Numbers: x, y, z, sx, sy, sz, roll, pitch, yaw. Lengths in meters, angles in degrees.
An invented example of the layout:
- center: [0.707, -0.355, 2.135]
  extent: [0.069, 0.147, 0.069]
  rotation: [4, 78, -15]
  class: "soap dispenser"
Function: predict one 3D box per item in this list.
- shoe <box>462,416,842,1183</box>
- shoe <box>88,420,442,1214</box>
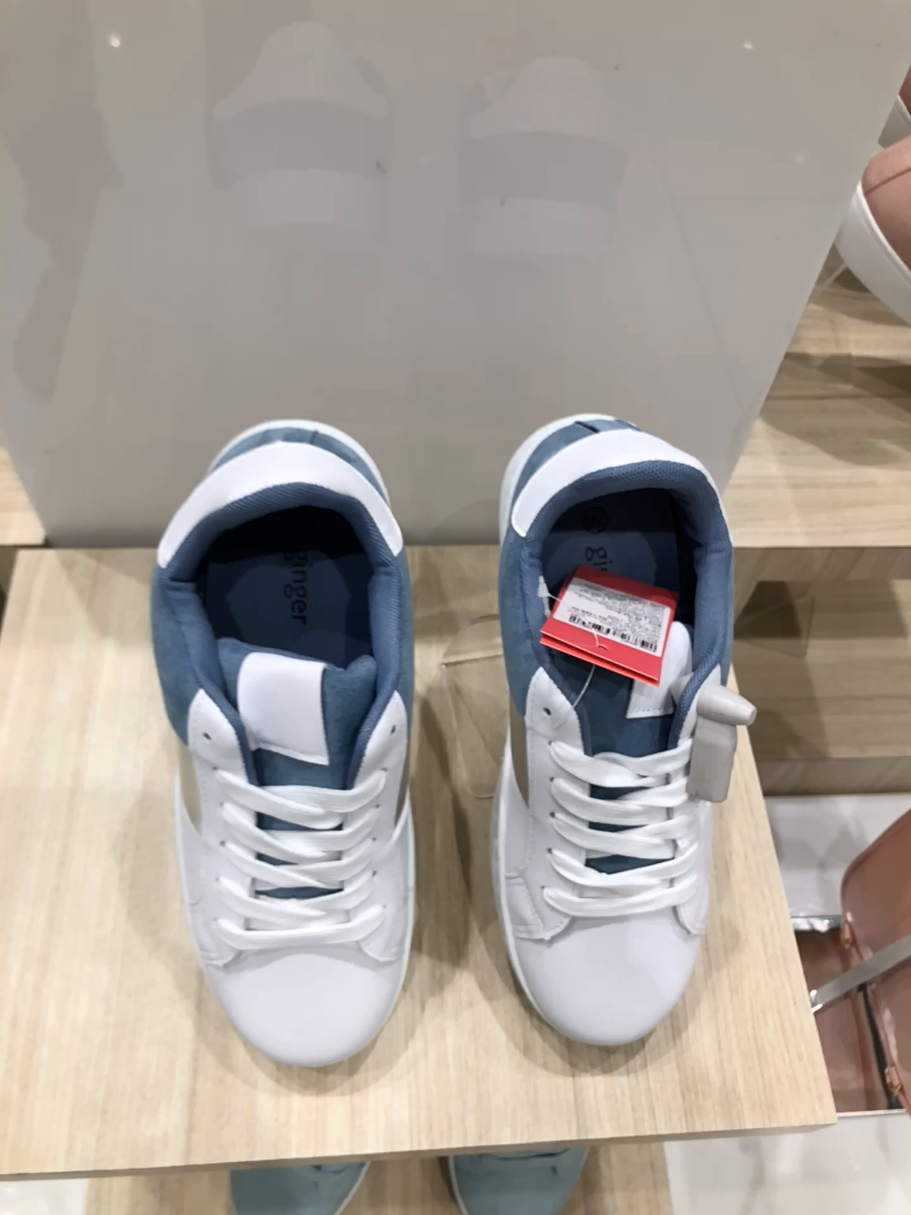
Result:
- center: [0.060, 0.065, 0.386]
  extent: [0.102, 0.262, 0.104]
  rotation: [-1, 15, -5]
  class: "shoe"
- center: [-0.060, 0.069, 0.371]
  extent: [0.092, 0.260, 0.104]
  rotation: [-3, 14, -6]
  class: "shoe"
